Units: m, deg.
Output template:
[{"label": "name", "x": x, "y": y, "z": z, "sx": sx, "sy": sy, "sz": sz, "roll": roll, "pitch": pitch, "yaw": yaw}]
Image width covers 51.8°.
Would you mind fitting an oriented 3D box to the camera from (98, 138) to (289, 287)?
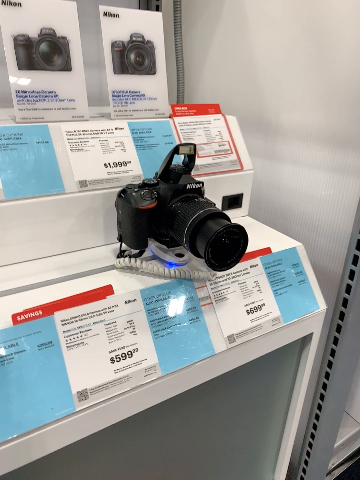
[{"label": "camera", "x": 0.005, "y": -0.051, "z": 0.460, "sx": 0.140, "sy": 0.109, "sz": 0.191, "roll": -15, "pitch": 29, "yaw": -32}]
